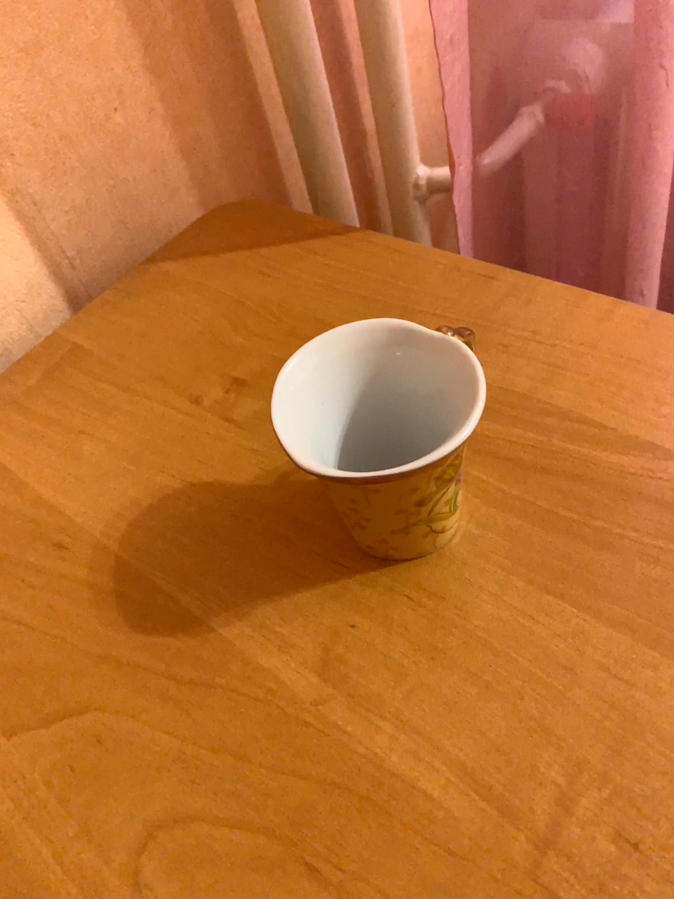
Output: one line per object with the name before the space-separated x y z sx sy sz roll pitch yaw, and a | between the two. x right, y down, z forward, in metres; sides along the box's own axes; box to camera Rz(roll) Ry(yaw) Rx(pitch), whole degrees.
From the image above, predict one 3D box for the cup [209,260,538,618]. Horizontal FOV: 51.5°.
cup | 0.020 -0.008 0.241 0.072 0.061 0.094 13 55 26
